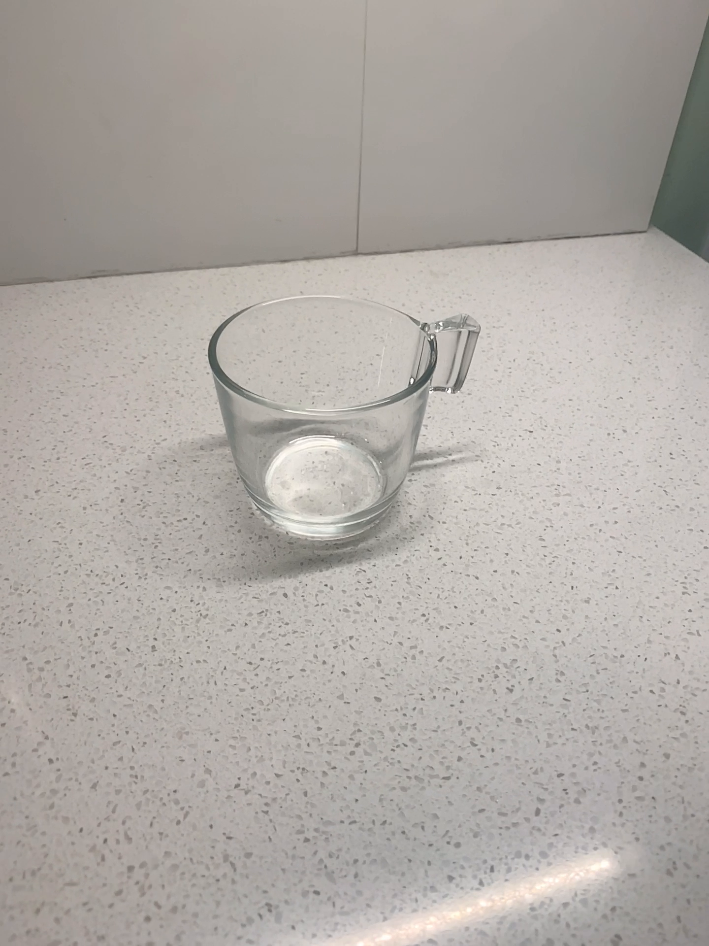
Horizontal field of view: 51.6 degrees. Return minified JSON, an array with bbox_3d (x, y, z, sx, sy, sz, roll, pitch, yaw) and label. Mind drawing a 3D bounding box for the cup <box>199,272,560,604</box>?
[{"bbox_3d":[0.004,-0.020,0.301,0.110,0.080,0.090,-12,42,-17],"label":"cup"}]
